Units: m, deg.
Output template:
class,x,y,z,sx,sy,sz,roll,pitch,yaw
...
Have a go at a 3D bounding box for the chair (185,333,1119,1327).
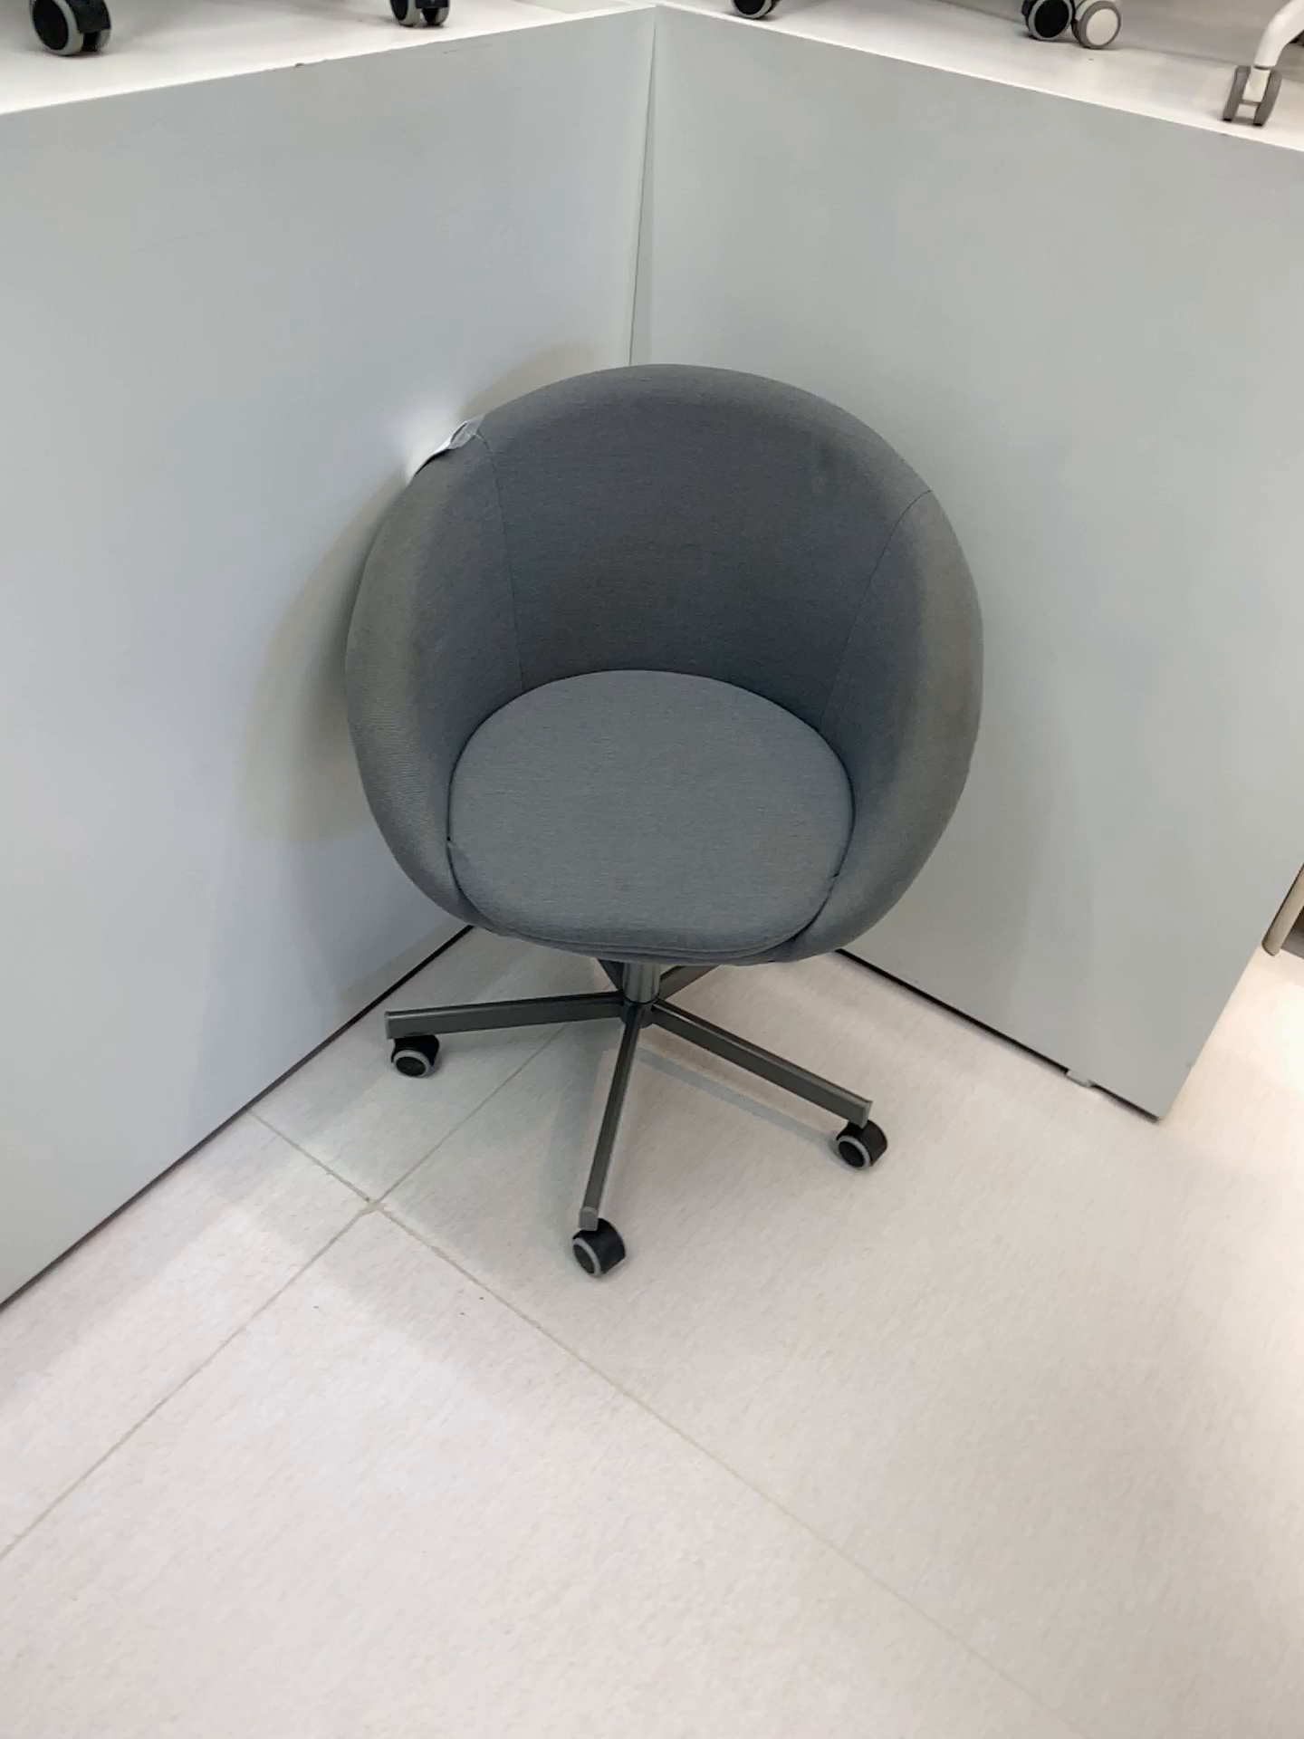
class,x,y,z,sx,sy,sz,roll,pitch,yaw
chair,-0.002,-0.048,1.566,0.730,0.827,0.713,7,41,1
